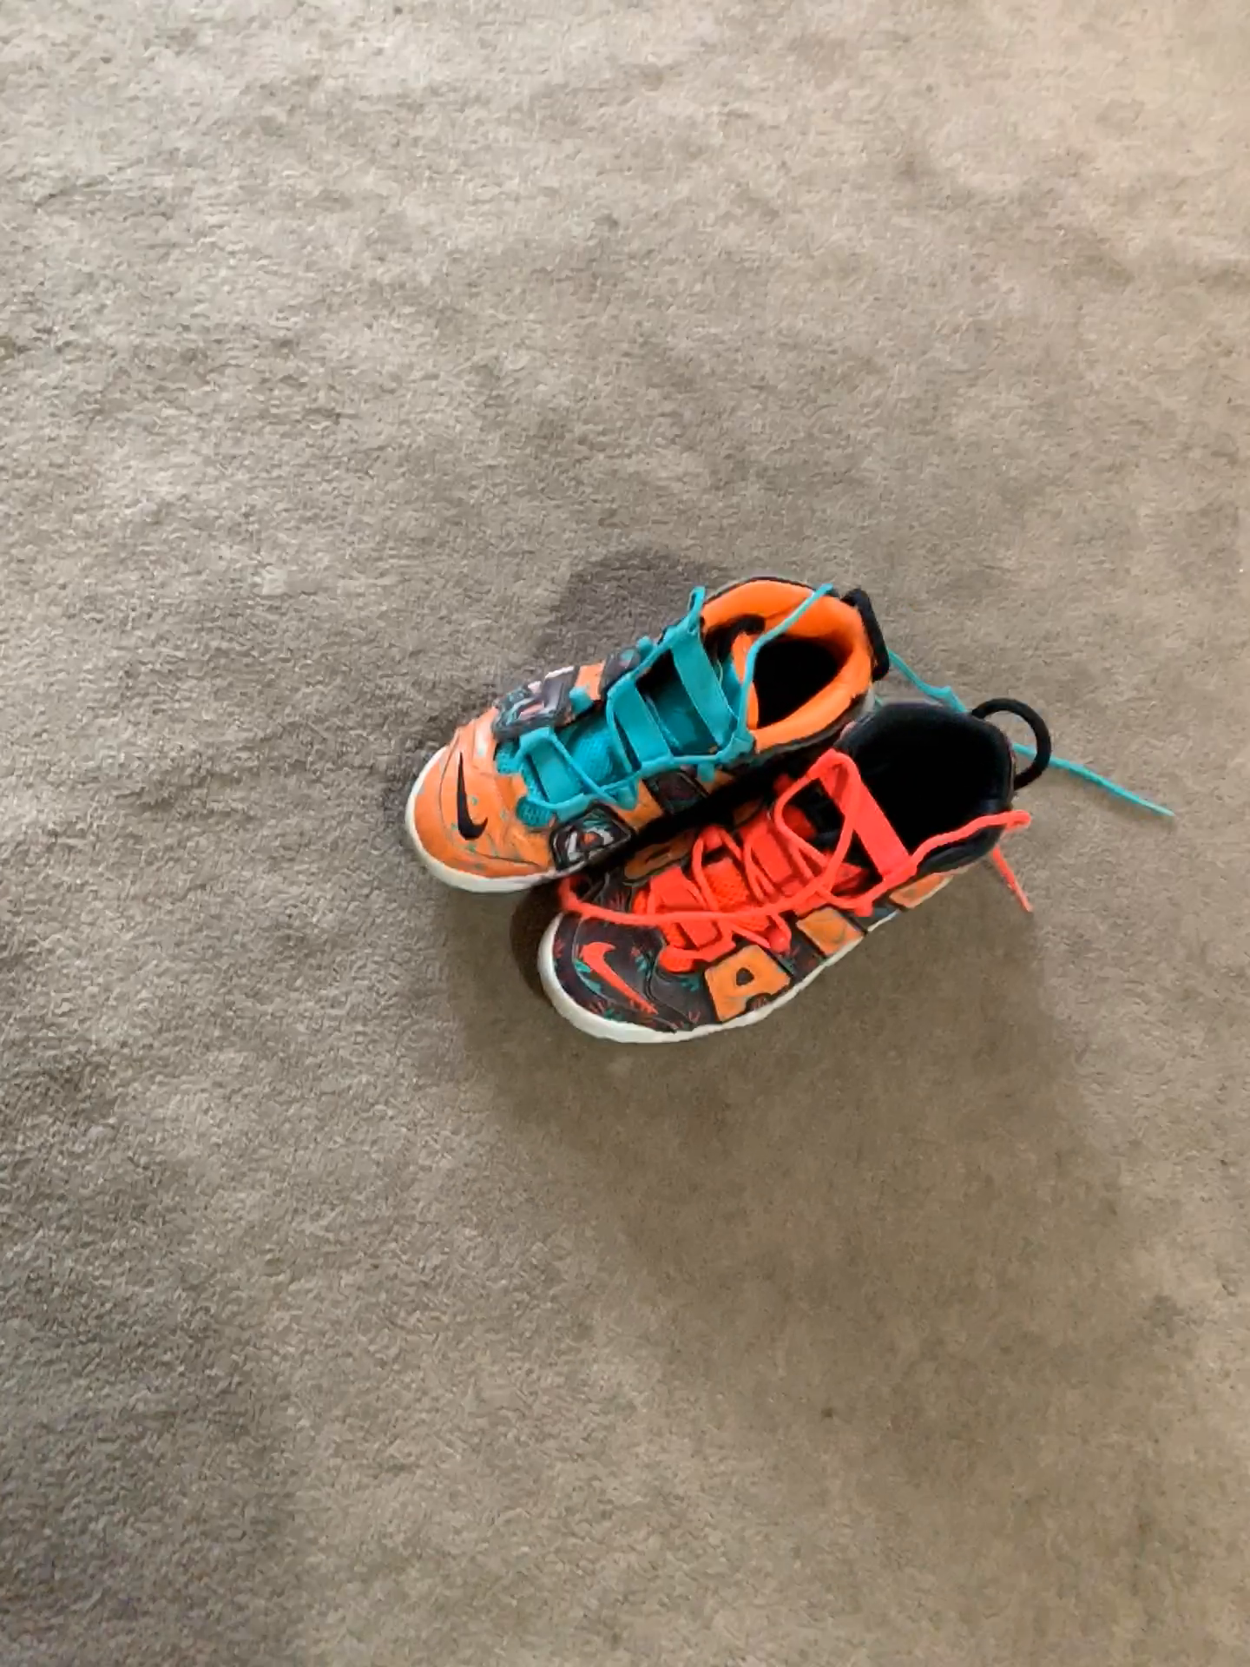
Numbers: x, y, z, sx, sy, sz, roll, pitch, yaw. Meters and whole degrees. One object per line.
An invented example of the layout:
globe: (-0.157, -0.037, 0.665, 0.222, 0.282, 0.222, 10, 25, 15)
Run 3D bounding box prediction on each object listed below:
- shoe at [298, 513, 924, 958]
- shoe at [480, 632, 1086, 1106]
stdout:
shoe: (-0.005, -0.041, 0.596, 0.250, 0.090, 0.100, -22, 79, -3)
shoe: (0.067, 0.022, 0.584, 0.230, 0.110, 0.100, -28, 76, -4)
